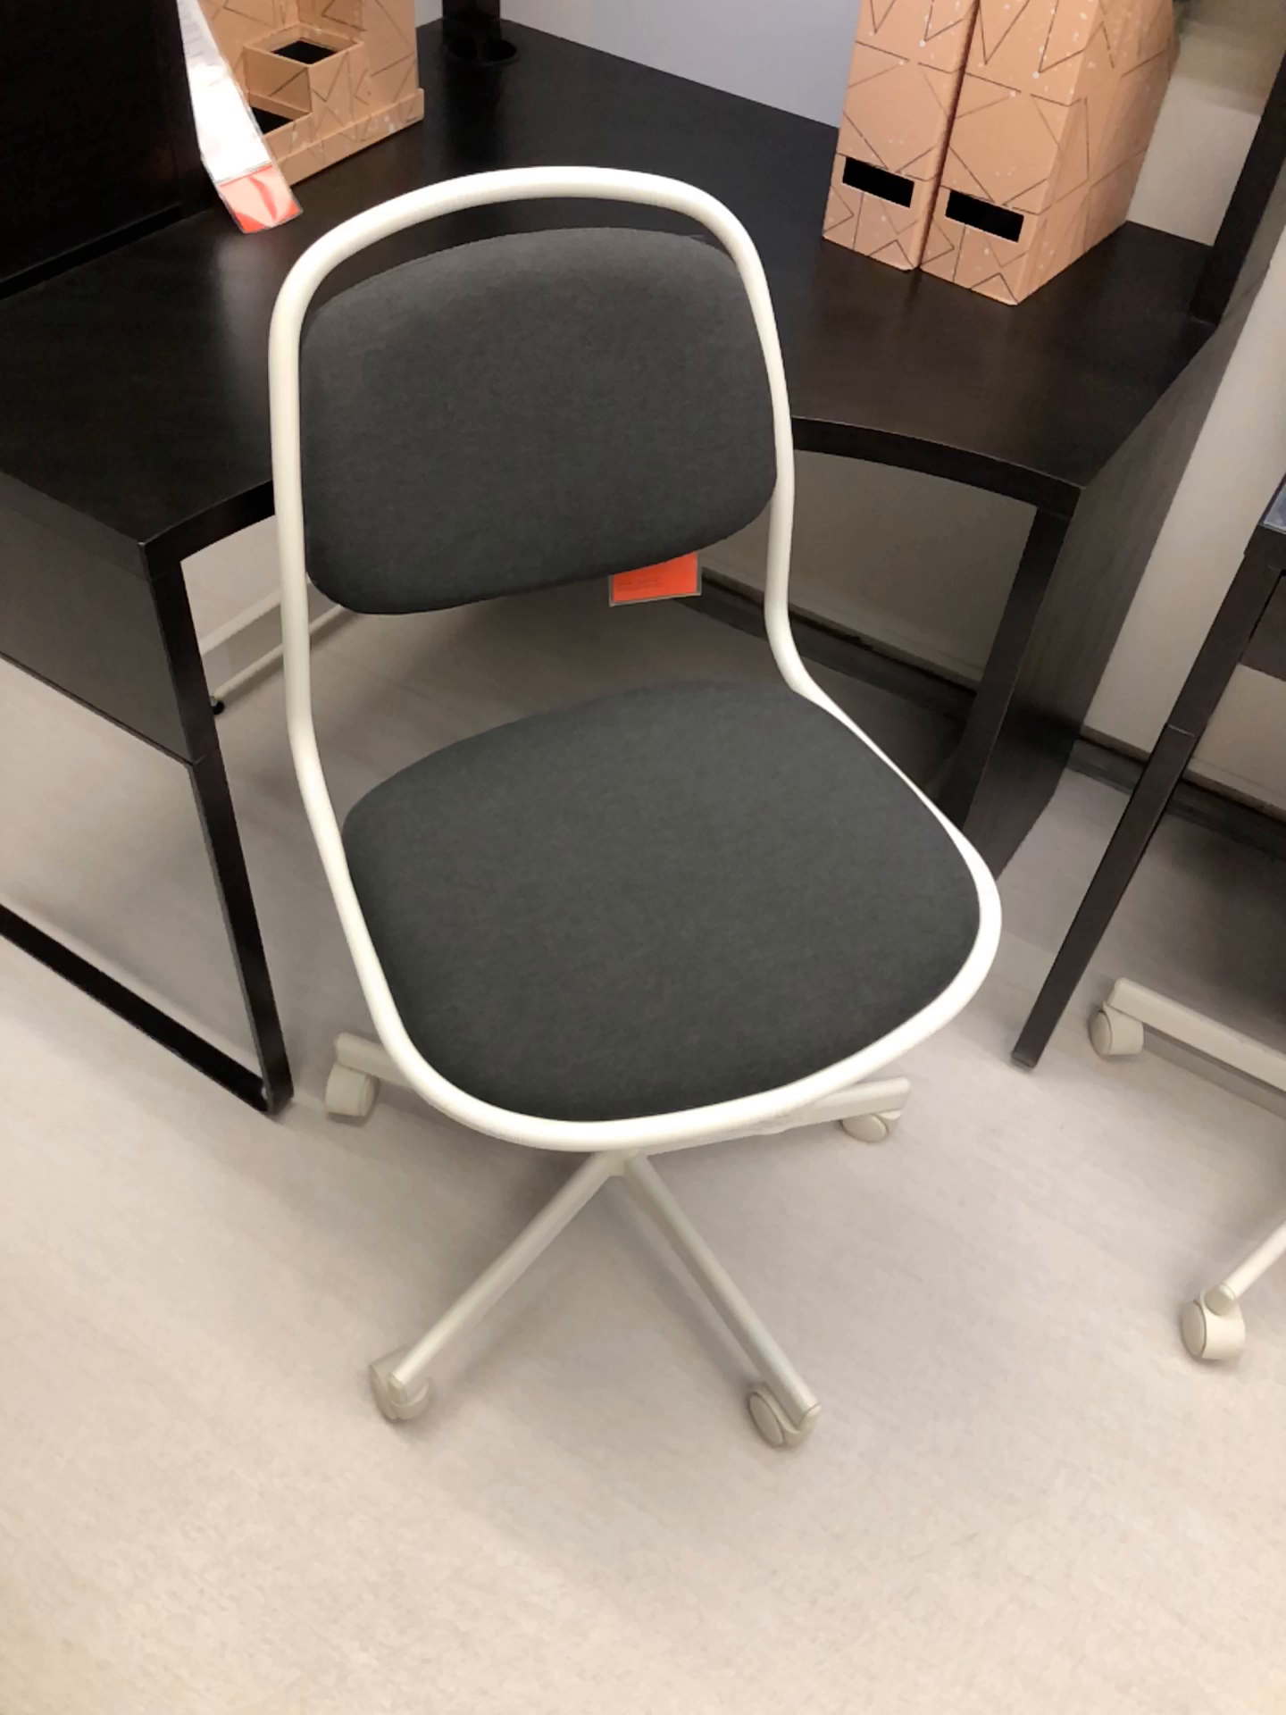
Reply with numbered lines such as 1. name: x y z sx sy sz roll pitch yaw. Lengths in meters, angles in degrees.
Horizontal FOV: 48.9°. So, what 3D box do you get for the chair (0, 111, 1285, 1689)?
1. chair: -0.018 0.051 1.104 0.661 0.904 0.623 -20 52 -22
